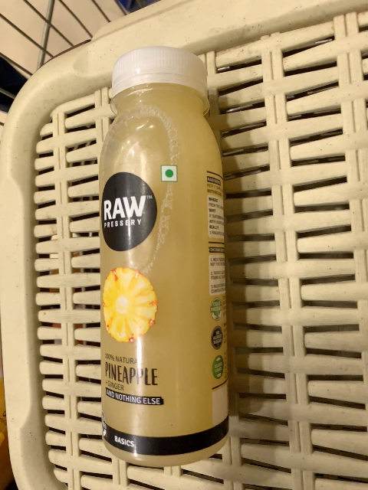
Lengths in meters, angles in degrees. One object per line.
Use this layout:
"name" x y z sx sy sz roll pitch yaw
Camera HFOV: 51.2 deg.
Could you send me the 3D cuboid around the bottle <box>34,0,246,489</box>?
"bottle" -0.013 -0.005 0.148 0.060 0.050 0.160 -2 84 25
